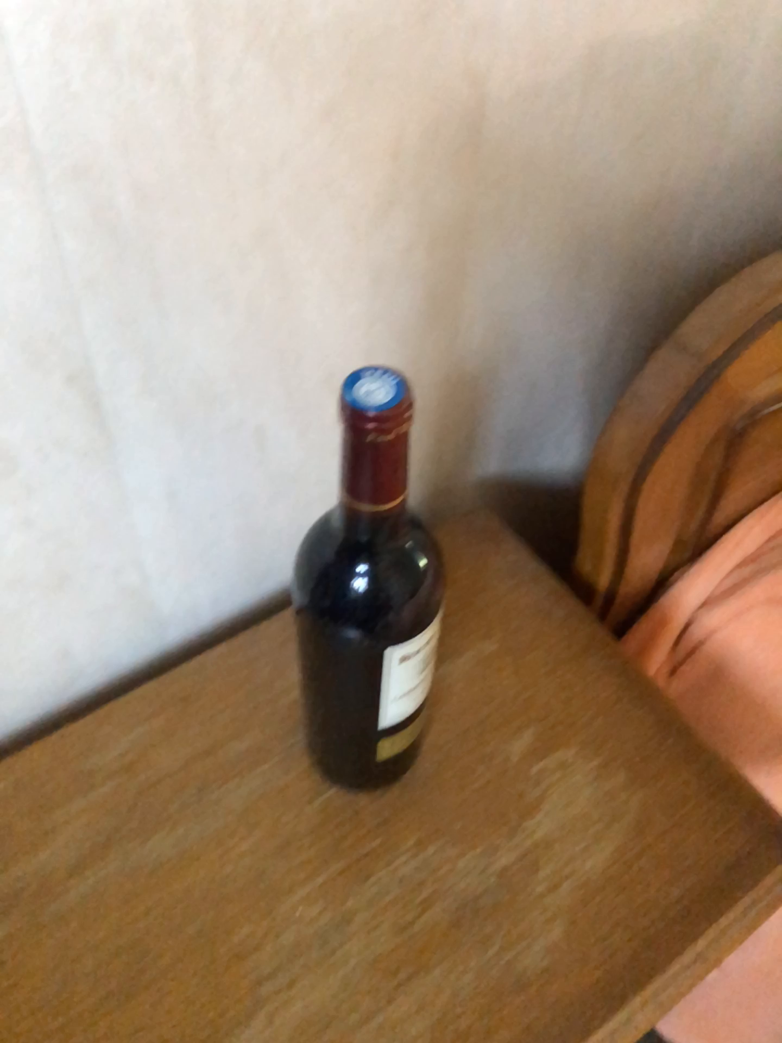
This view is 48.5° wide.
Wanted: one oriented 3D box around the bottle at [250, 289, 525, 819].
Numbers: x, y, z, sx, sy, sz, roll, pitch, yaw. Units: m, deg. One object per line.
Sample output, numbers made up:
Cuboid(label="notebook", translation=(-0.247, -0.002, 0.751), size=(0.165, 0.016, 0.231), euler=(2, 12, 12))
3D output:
Cuboid(label="bottle", translation=(-0.006, 0.040, 0.445), size=(0.080, 0.298, 0.081), euler=(2, 49, -2))
